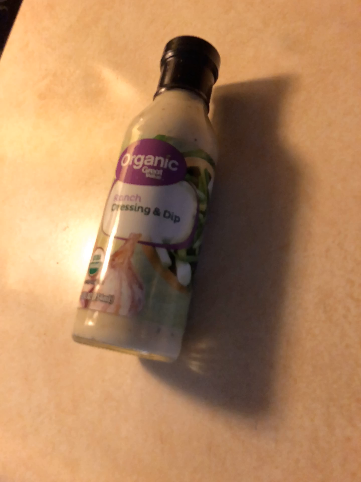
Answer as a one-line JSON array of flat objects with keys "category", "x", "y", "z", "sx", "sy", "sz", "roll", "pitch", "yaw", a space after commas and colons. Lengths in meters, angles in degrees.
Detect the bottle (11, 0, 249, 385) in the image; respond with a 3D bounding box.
[{"category": "bottle", "x": -0.016, "y": -0.040, "z": 0.246, "sx": 0.070, "sy": 0.060, "sz": 0.230, "roll": 5, "pitch": 69, "yaw": 23}]
